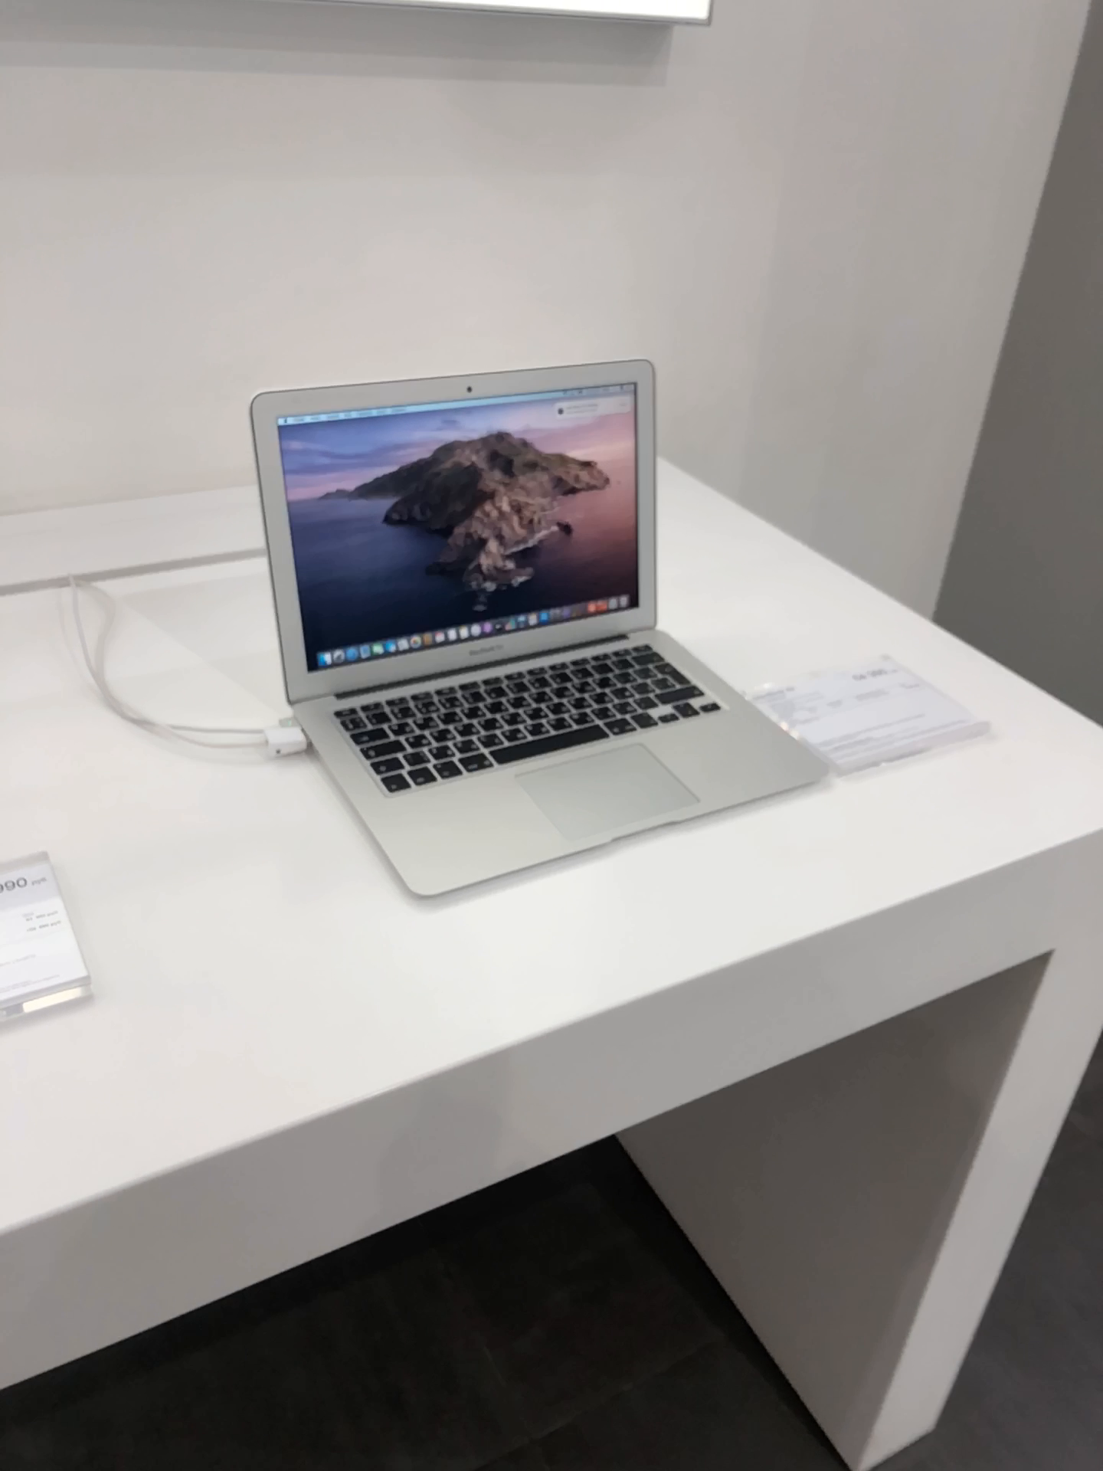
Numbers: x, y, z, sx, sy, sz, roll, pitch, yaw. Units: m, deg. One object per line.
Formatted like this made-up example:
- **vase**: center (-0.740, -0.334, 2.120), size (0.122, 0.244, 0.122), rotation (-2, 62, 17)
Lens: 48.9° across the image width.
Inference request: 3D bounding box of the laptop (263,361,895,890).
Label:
- **laptop**: center (0.004, -0.100, 0.832), size (0.315, 0.207, 0.271), rotation (-14, 37, -27)
